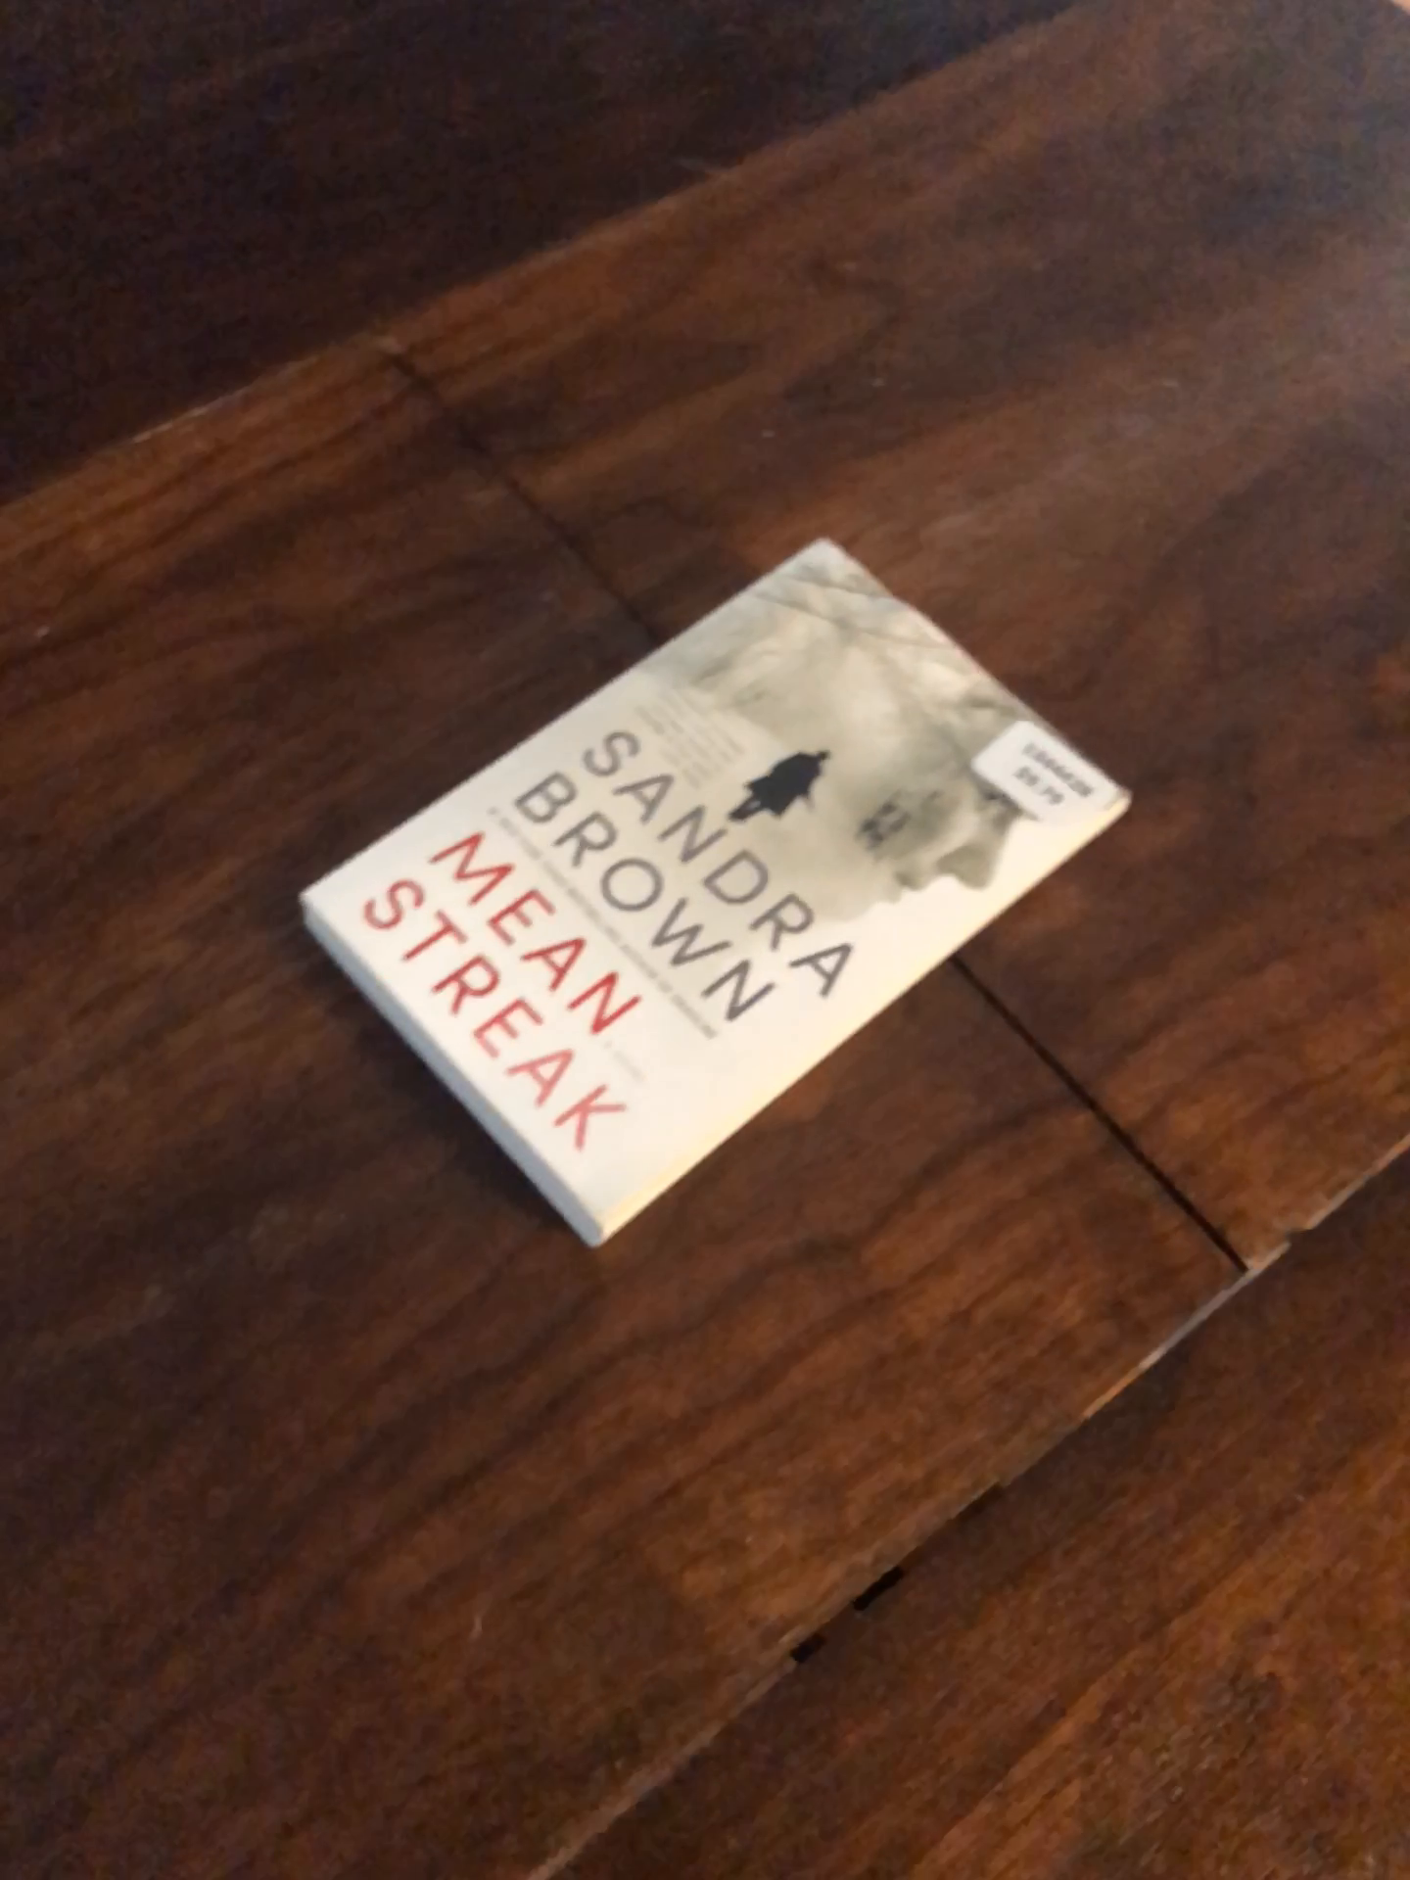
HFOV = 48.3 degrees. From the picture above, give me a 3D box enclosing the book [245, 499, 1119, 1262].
[{"bbox_3d":[-0.004,-0.028,0.457,0.207,0.030,0.137,-38,68,-19],"label":"book"}]
